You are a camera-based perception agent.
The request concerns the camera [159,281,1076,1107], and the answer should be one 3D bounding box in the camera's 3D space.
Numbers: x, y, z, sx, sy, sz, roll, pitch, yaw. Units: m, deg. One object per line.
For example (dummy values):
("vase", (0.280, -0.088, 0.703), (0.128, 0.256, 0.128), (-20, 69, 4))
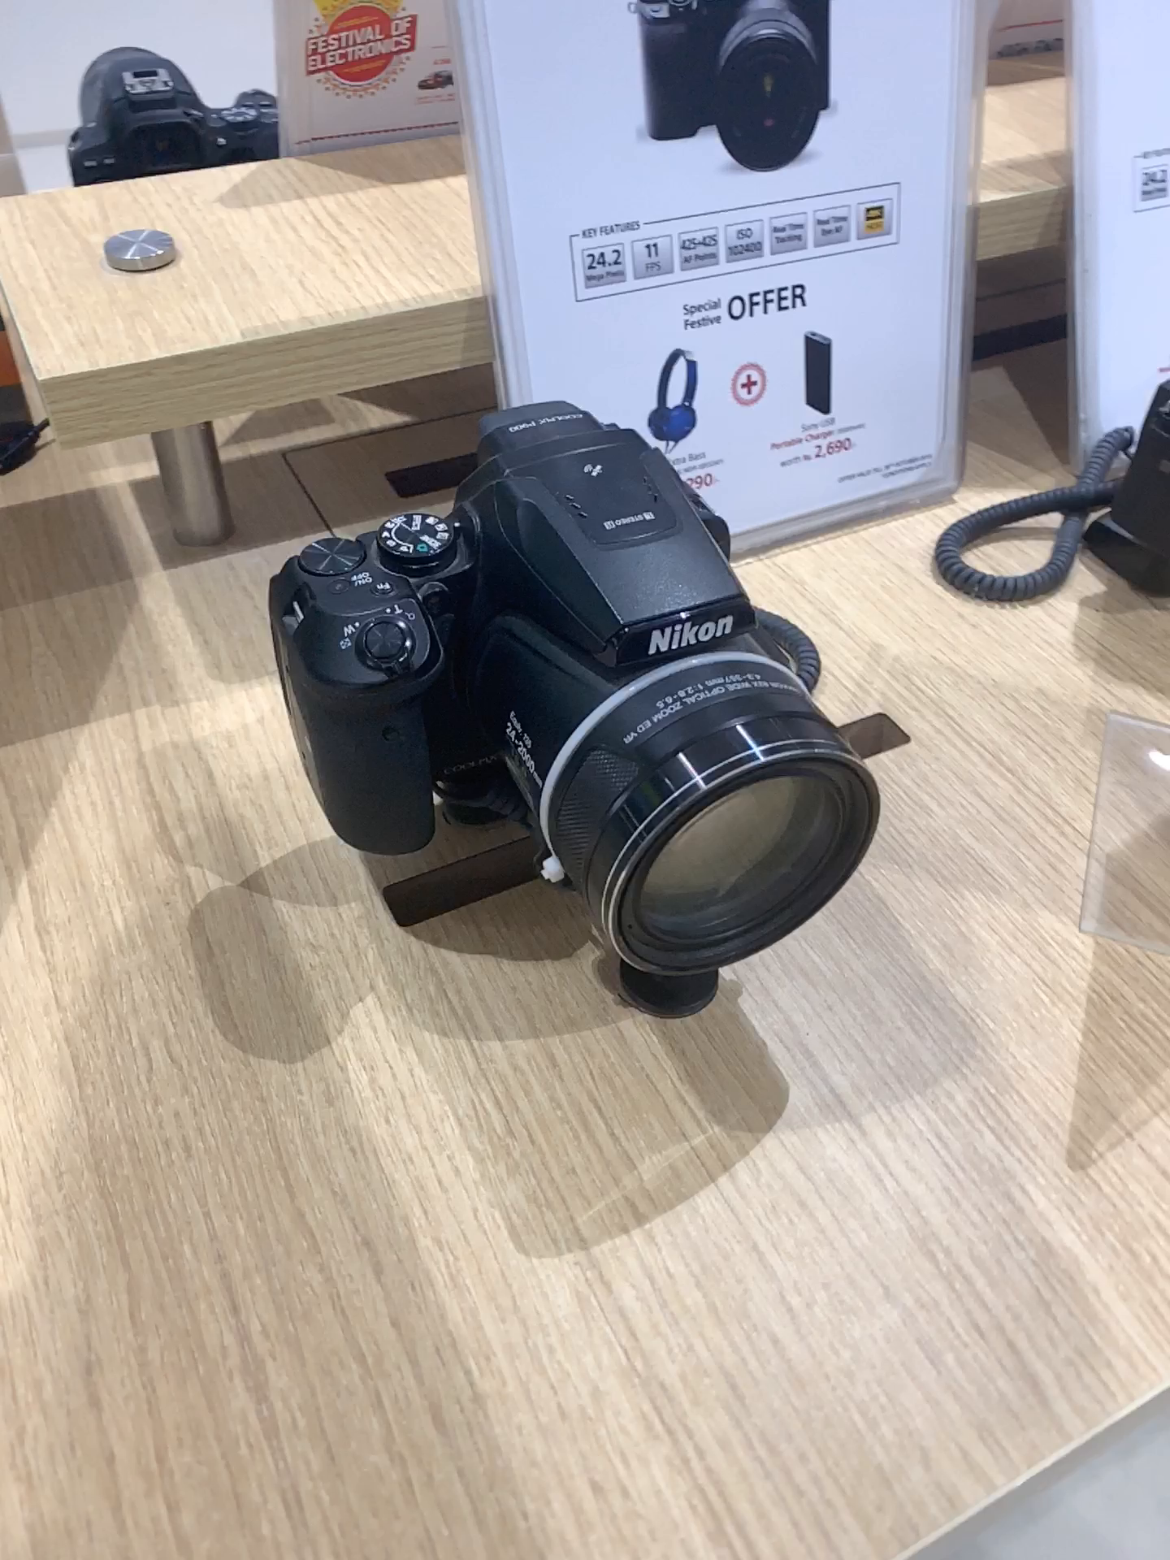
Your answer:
("camera", (-0.003, -0.034, 0.286), (0.140, 0.090, 0.150), (-18, 48, -20))
